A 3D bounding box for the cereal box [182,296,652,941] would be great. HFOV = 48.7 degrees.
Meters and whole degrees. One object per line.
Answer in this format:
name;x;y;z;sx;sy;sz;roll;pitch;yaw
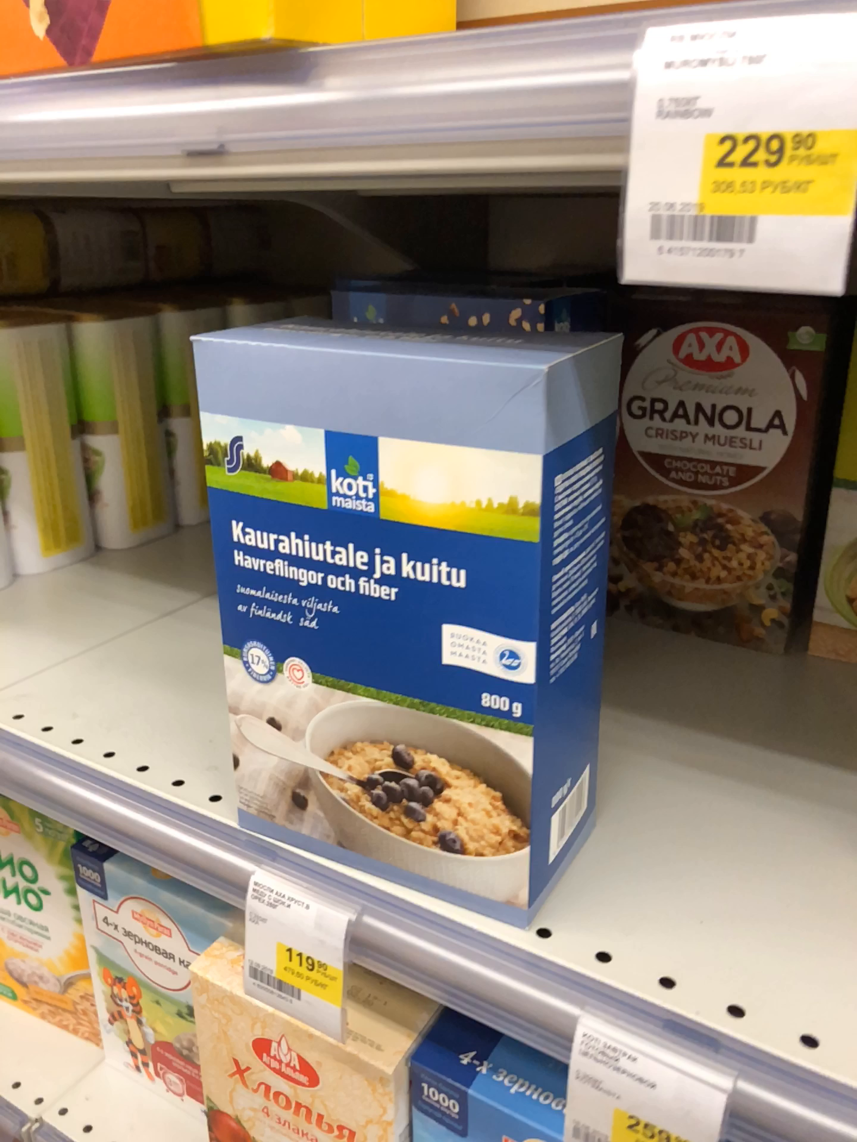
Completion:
cereal box;-0.004;0.009;0.381;0.150;0.219;0.080;11;23;27
